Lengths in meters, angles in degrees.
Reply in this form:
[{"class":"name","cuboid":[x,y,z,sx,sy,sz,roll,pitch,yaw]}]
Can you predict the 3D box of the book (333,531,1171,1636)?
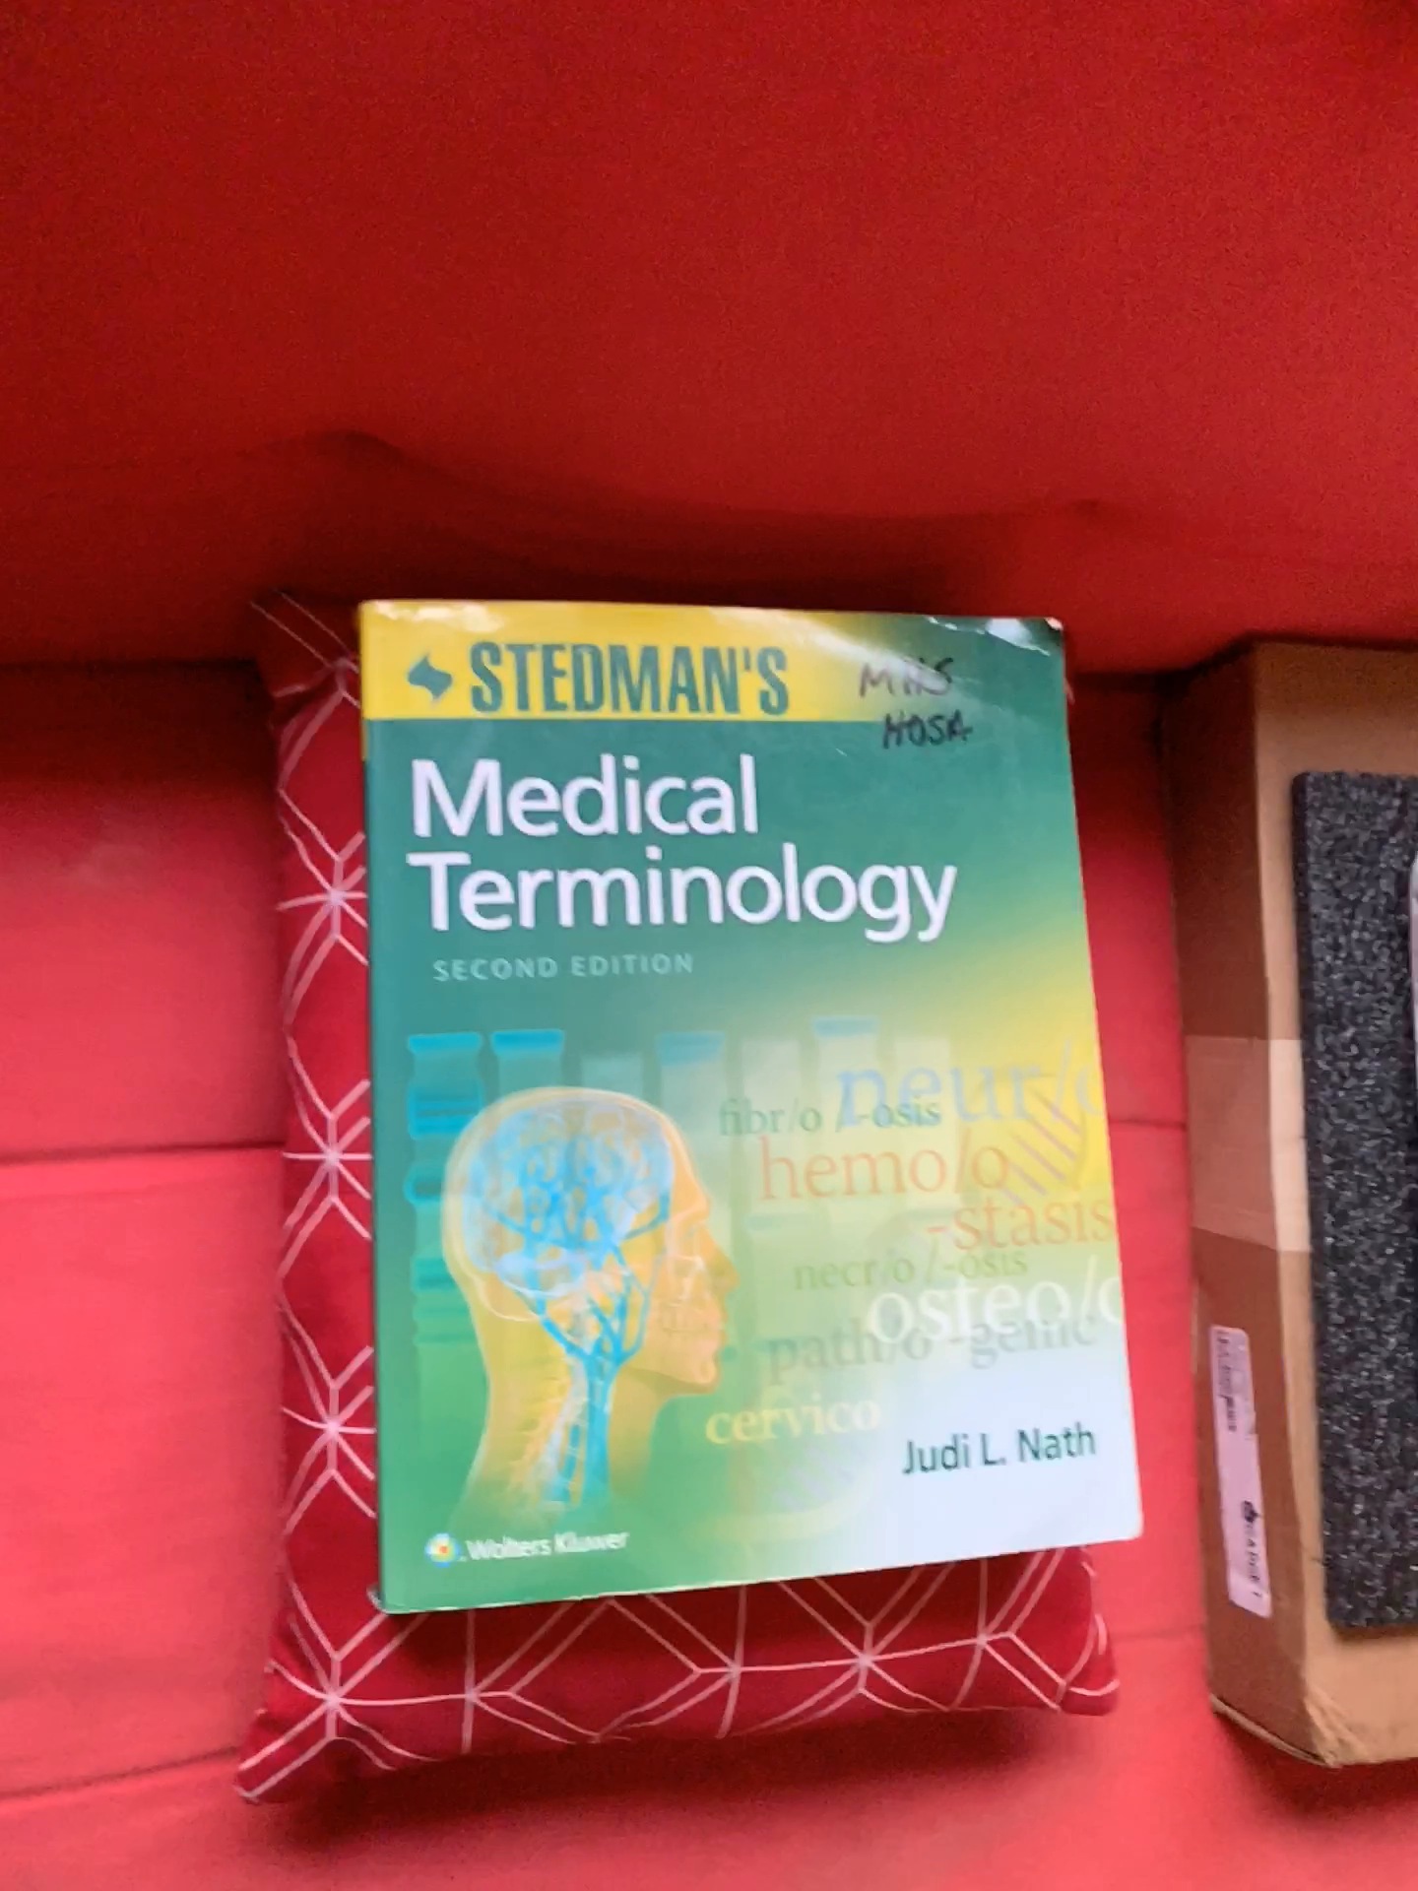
[{"class":"book","cuboid":[0.011,0.032,0.447,0.240,0.040,0.300,-1,83,-14]}]
